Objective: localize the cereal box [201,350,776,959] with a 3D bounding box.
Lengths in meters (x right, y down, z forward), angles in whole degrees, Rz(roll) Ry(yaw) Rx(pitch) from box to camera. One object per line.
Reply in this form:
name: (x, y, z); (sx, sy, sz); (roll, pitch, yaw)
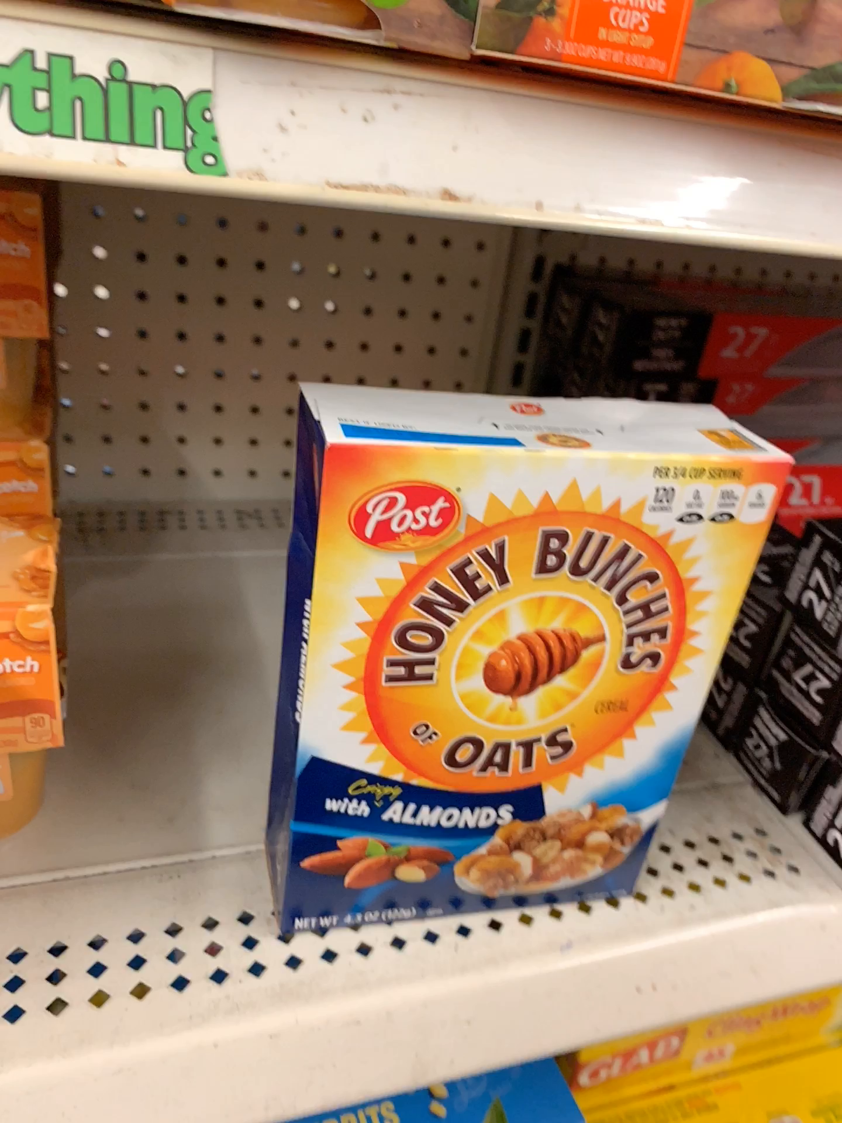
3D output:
cereal box: (0.006, 0.036, 0.285); (0.150, 0.189, 0.050); (0, 29, -15)
